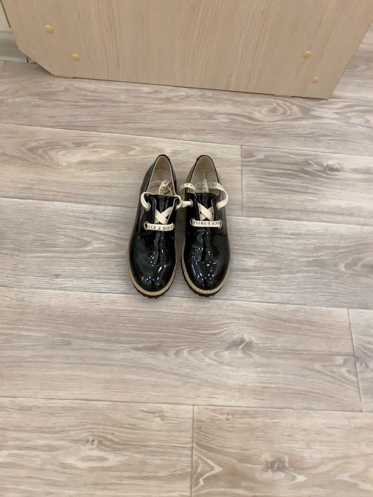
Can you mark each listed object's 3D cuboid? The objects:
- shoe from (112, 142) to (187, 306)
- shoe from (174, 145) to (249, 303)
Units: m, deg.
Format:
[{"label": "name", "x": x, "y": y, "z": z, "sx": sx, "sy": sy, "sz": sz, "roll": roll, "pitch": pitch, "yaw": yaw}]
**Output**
[{"label": "shoe", "x": -0.060, "y": -0.046, "z": 0.684, "sx": 0.100, "sy": 0.100, "sz": 0.271, "roll": 5, "pitch": 66, "yaw": -3}, {"label": "shoe", "x": 0.036, "y": -0.048, "z": 0.698, "sx": 0.100, "sy": 0.100, "sz": 0.271, "roll": -1, "pitch": 66, "yaw": -6}]
